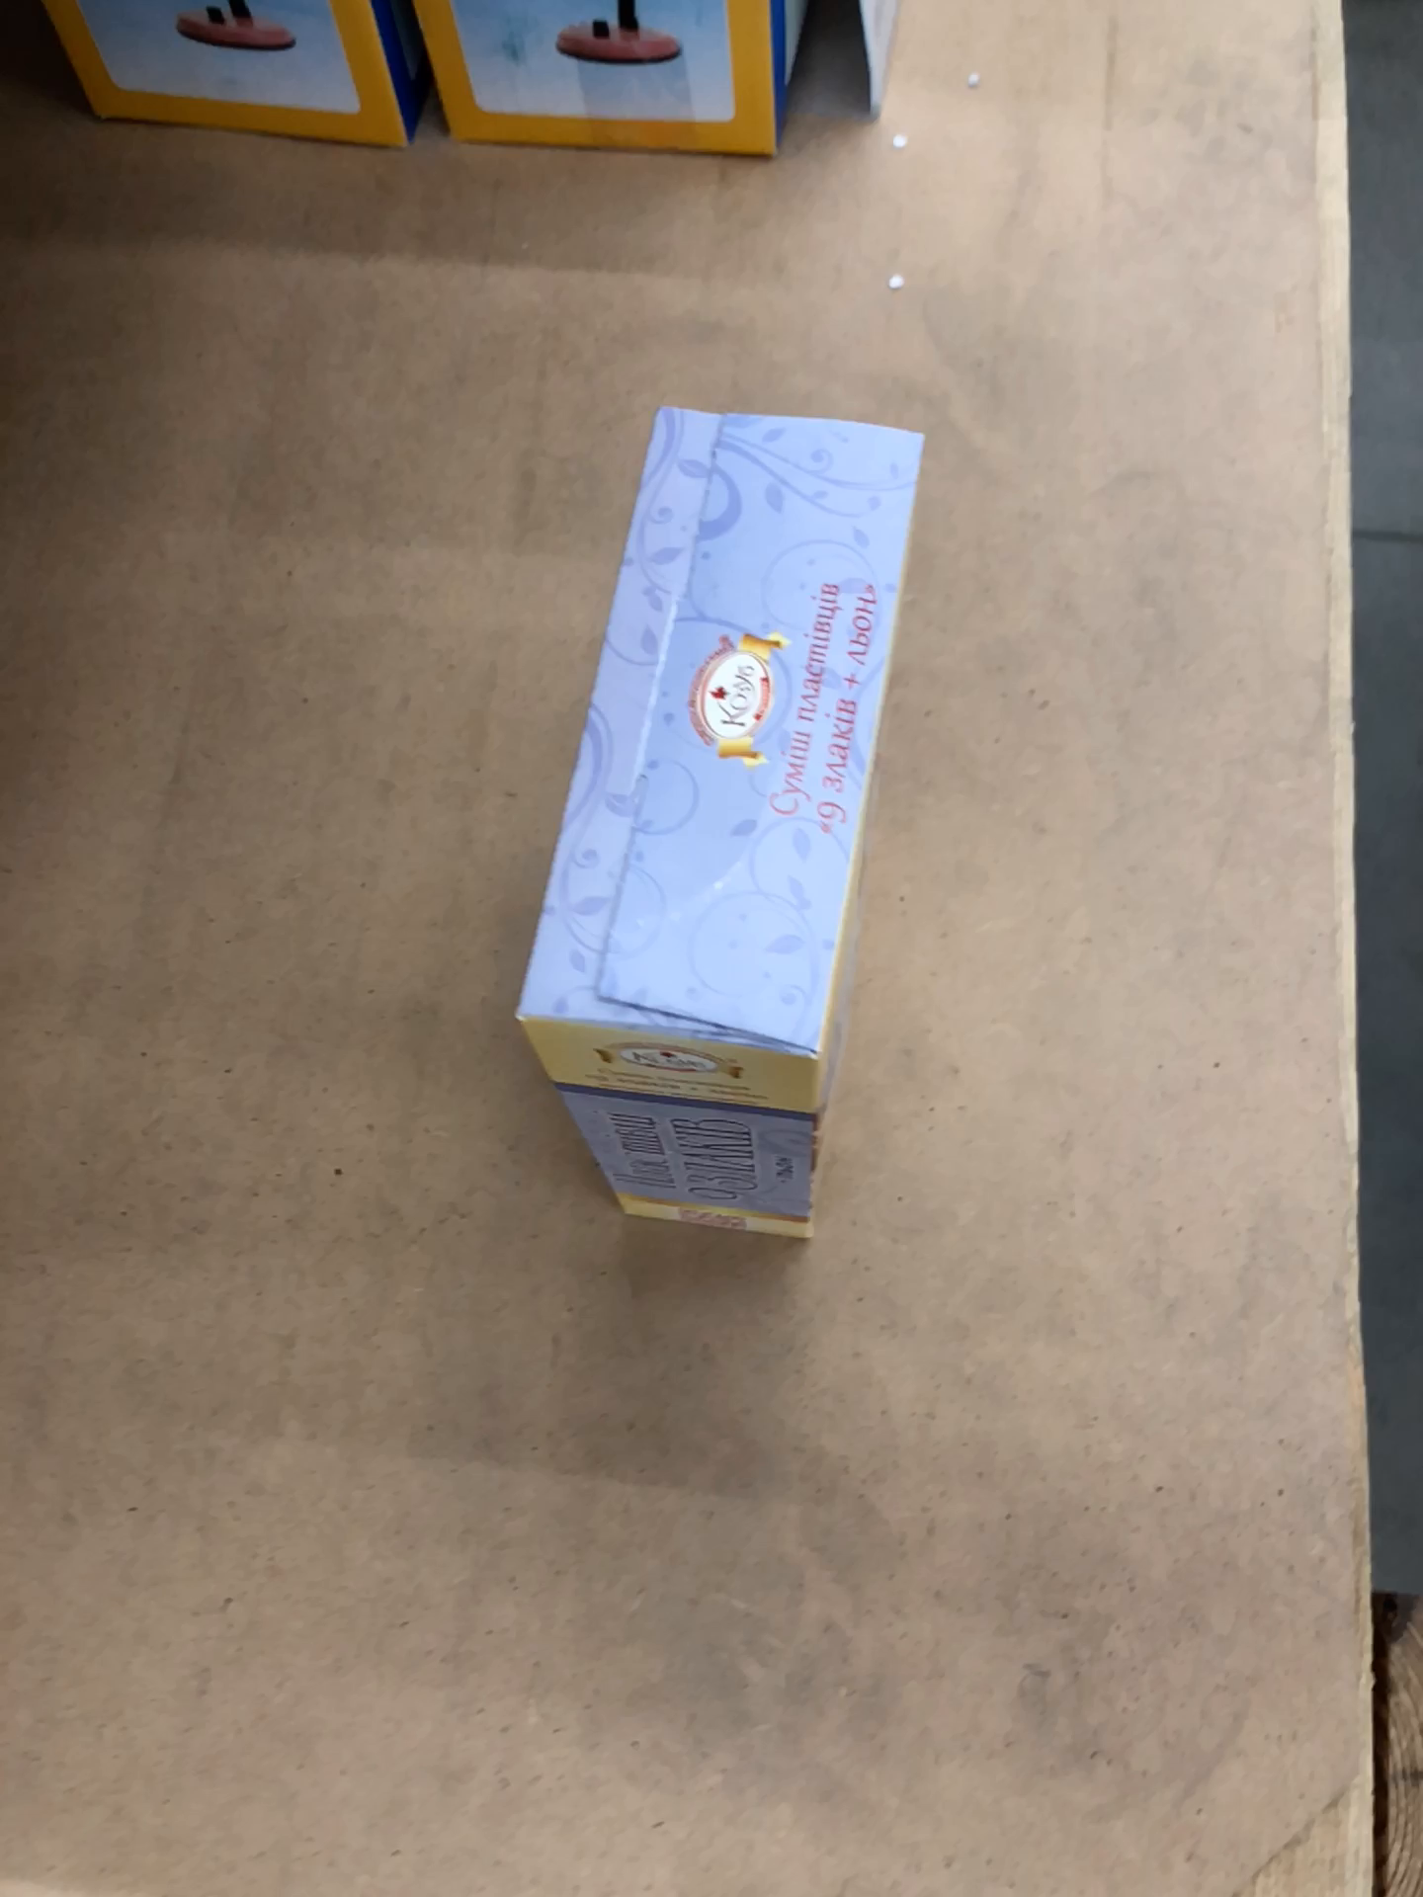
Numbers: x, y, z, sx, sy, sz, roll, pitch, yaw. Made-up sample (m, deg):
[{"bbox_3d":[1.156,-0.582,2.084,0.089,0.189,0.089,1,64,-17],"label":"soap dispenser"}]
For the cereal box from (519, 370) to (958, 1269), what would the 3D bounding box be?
[{"bbox_3d":[0.011,-0.016,0.475,0.070,0.239,0.181,10,71,4],"label":"cereal box"}]
